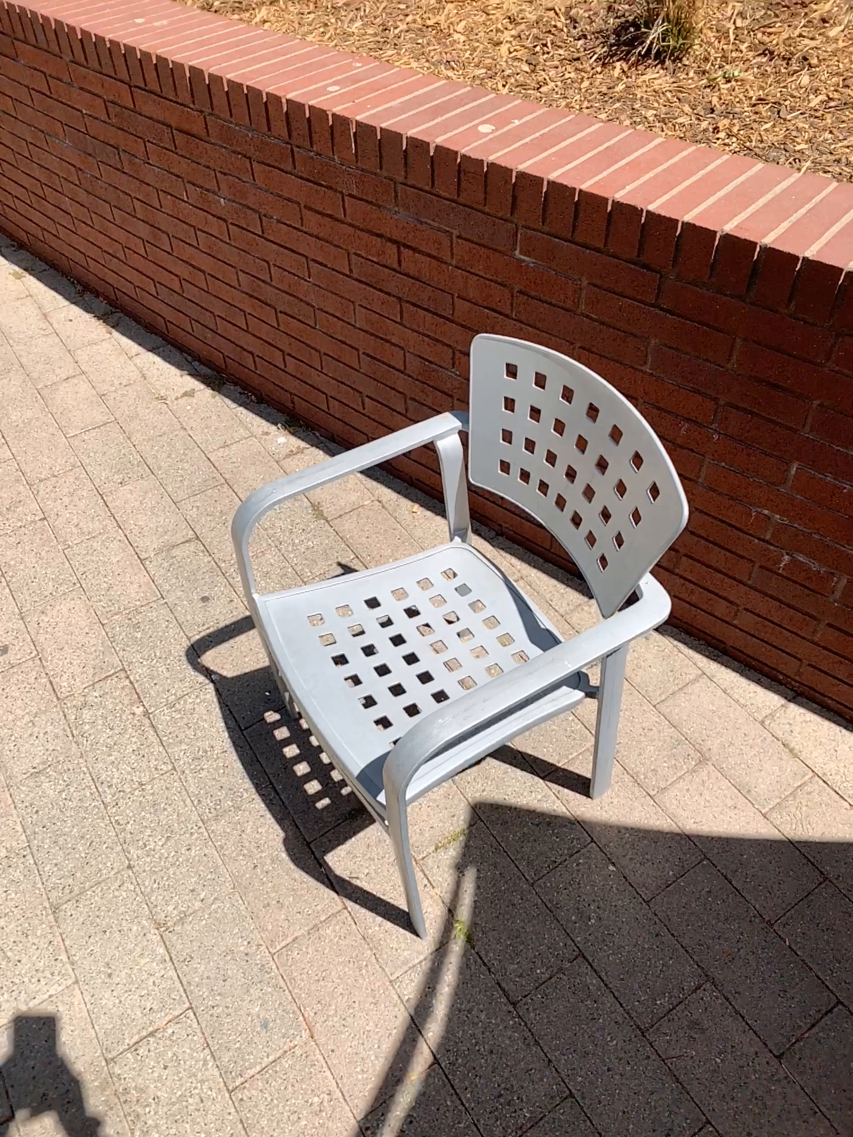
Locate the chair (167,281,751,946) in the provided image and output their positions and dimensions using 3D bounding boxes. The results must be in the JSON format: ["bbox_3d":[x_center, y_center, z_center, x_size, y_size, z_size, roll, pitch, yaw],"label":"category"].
[{"bbox_3d":[0.022,0.069,1.357,0.498,0.698,0.564,-26,51,-21],"label":"chair"}]
